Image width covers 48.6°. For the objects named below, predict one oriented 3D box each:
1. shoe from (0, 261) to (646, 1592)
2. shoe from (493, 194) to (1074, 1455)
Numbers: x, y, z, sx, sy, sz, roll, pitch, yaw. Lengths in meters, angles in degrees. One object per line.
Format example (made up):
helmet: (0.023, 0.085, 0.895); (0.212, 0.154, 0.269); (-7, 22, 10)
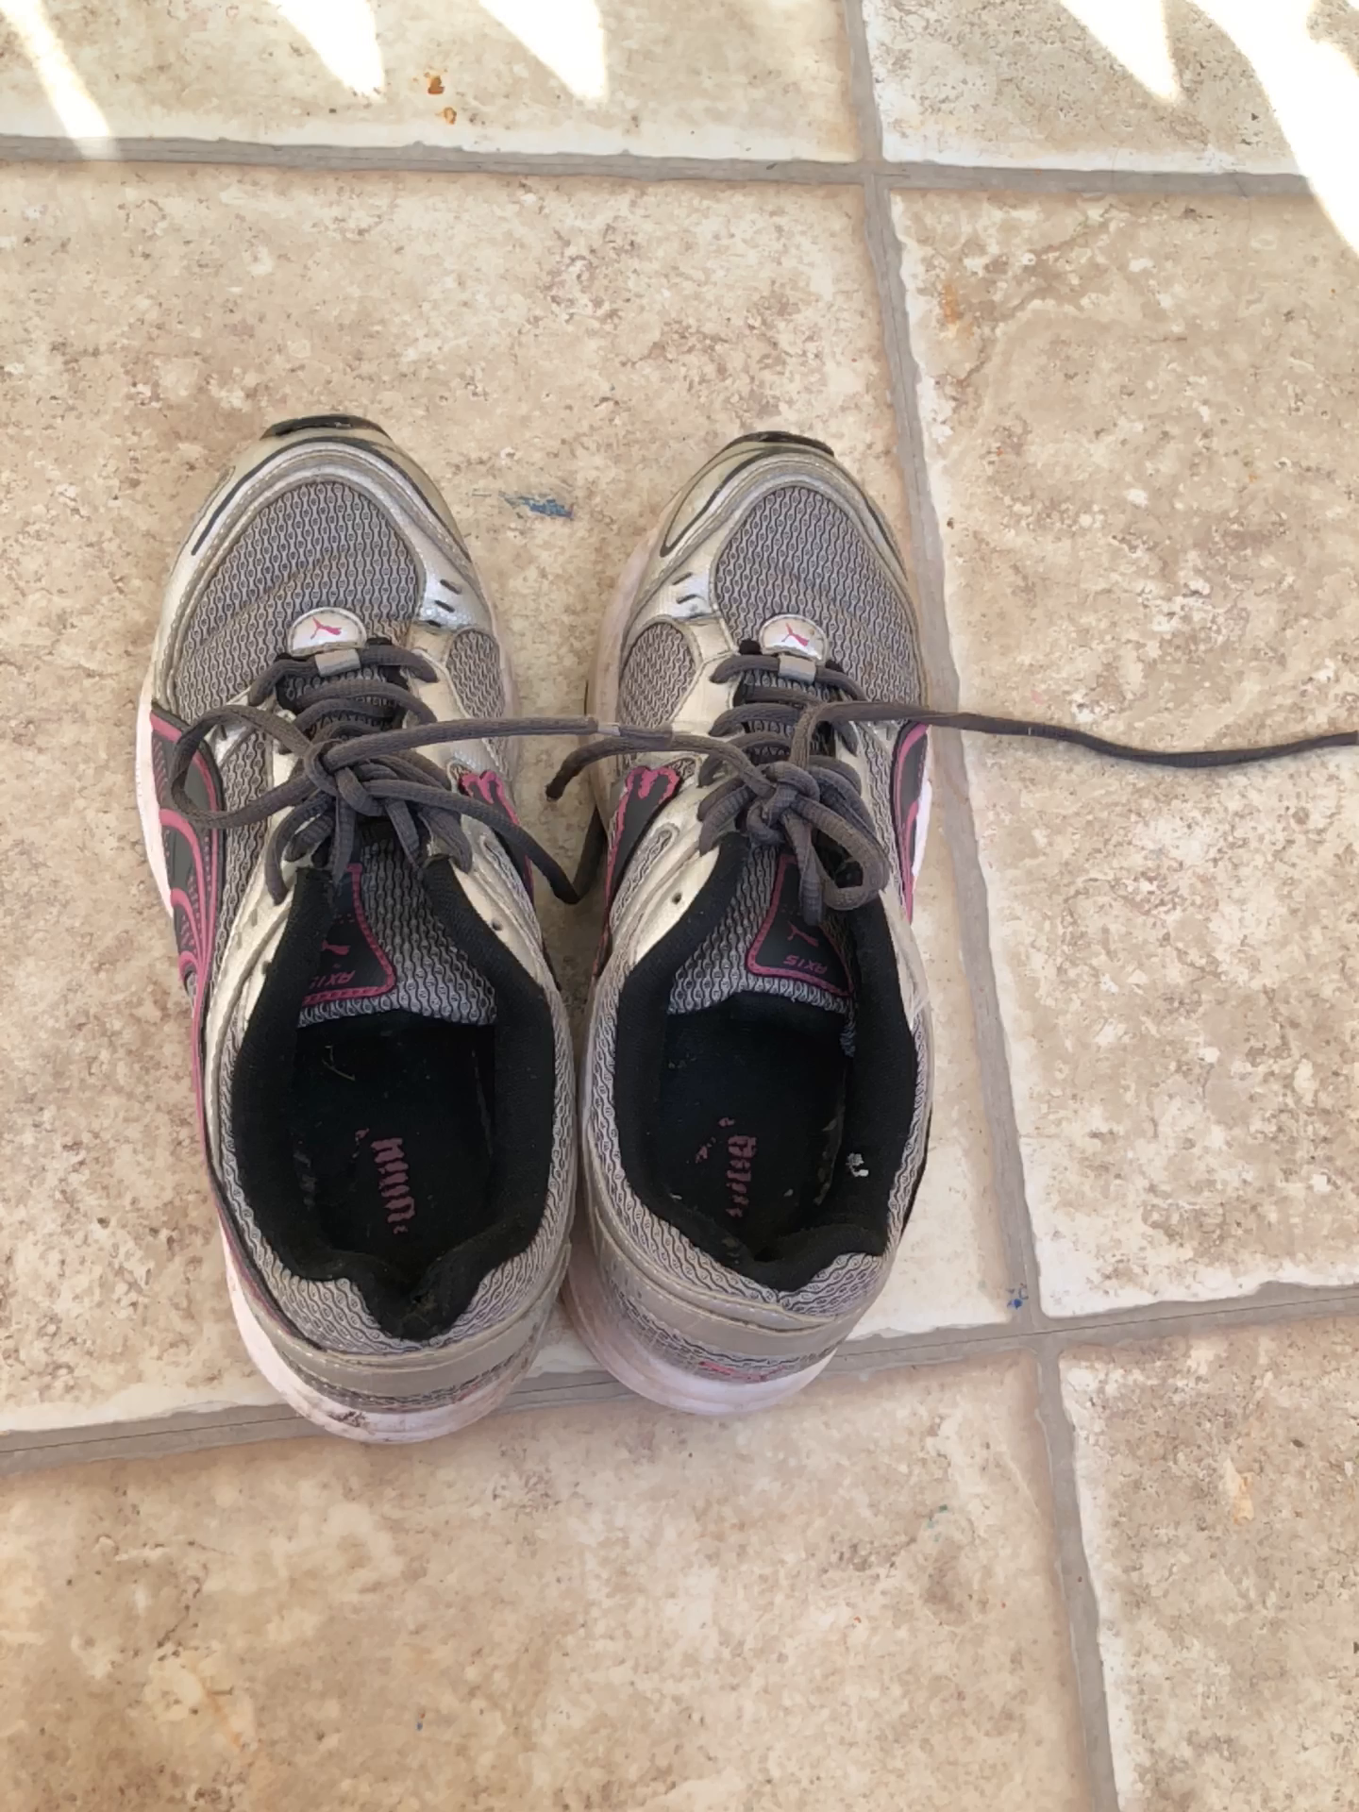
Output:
shoe: (-0.090, 0.003, 0.377); (0.110, 0.140, 0.270); (-6, 78, -10)
shoe: (0.020, -0.012, 0.388); (0.110, 0.140, 0.270); (5, 76, -7)
